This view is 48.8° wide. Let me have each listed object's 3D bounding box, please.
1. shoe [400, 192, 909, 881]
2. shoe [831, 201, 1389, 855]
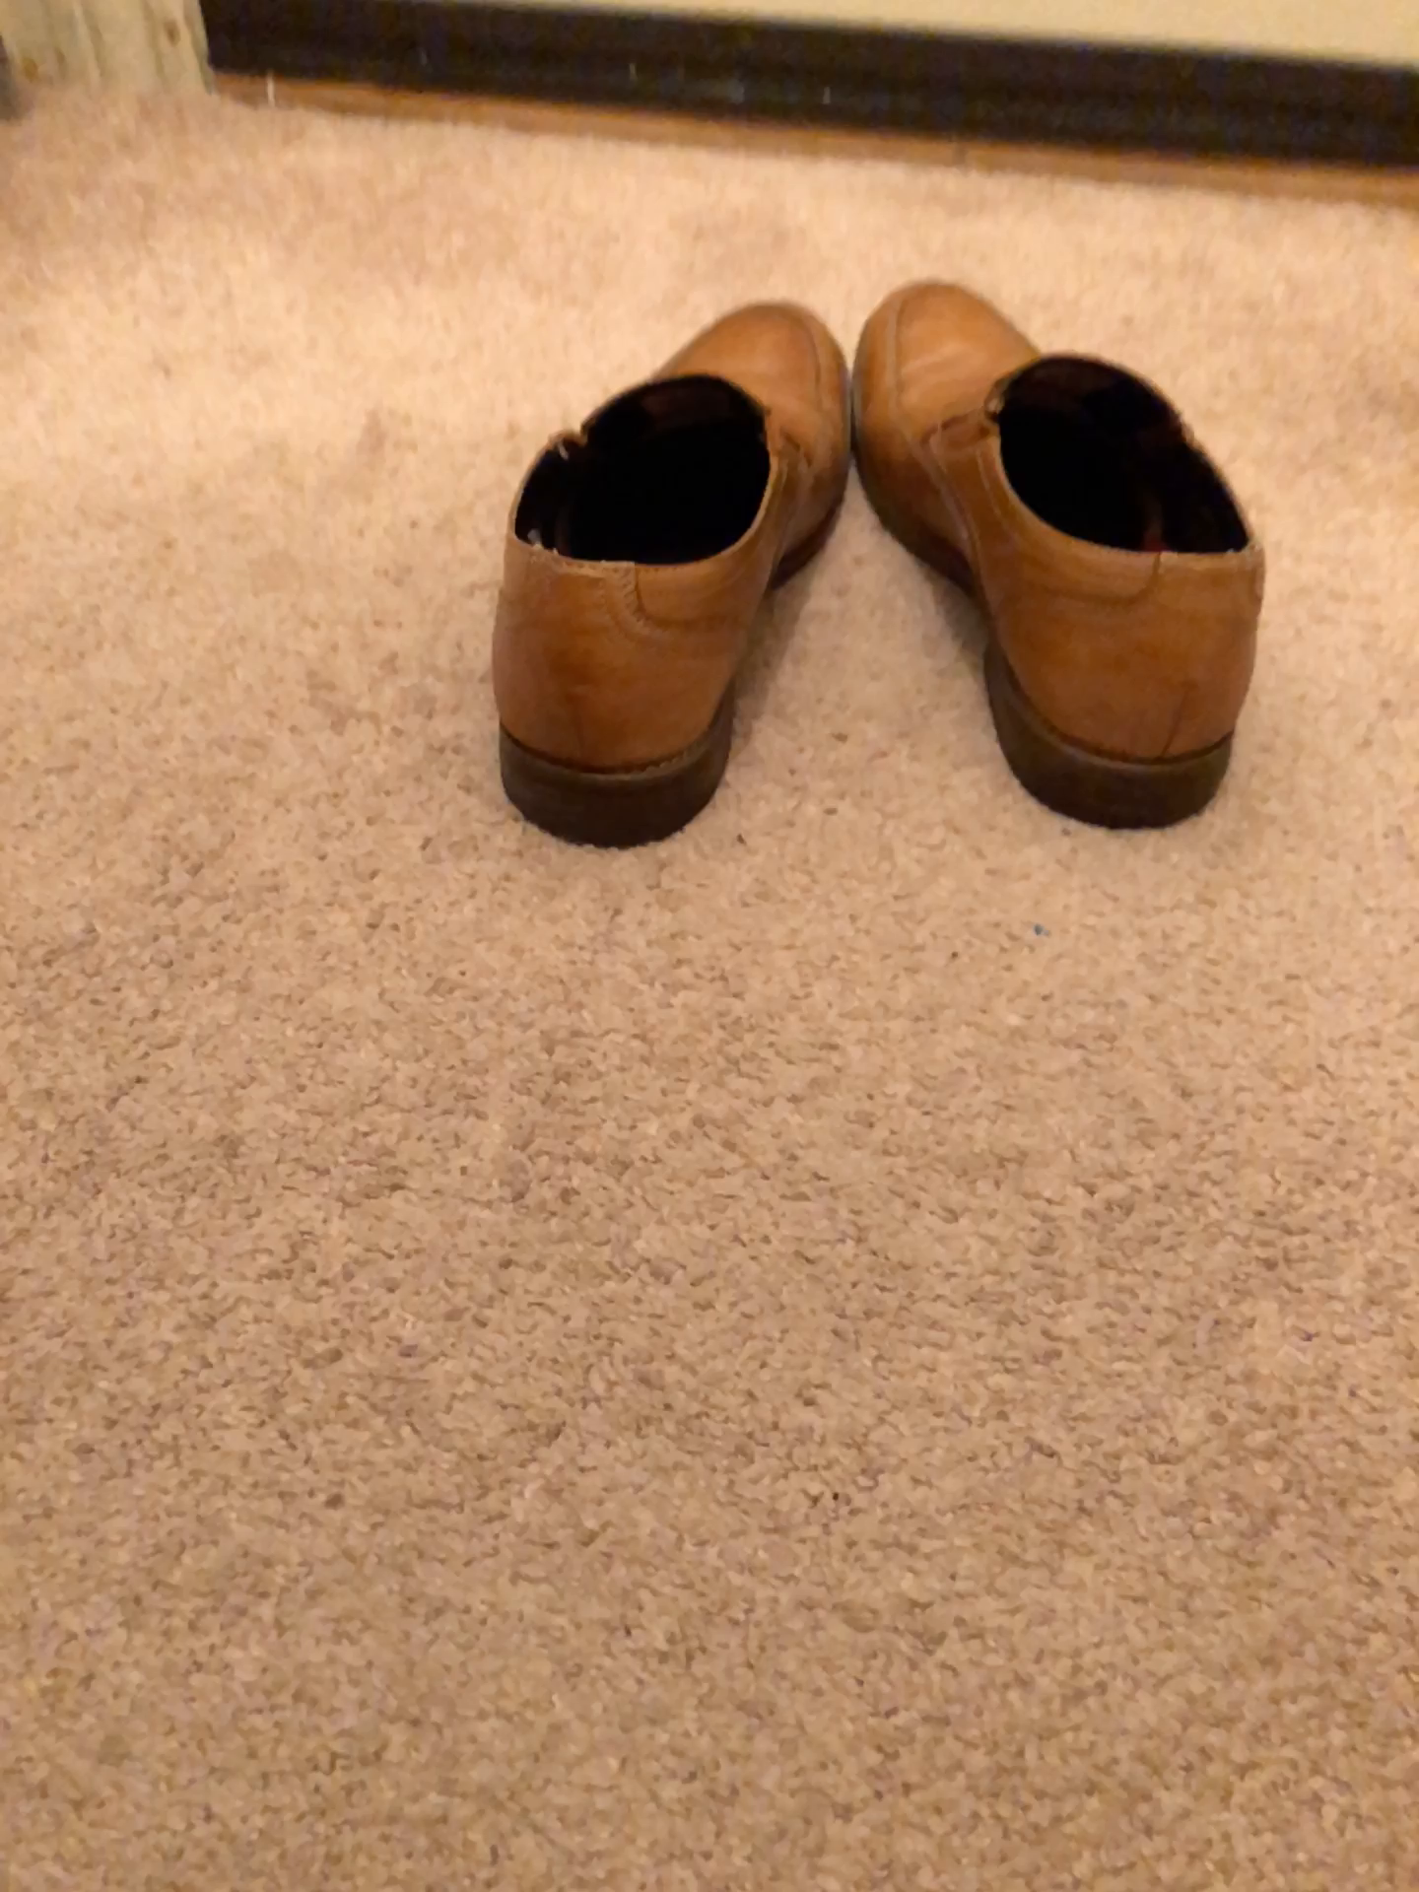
[{"bbox_3d":[-0.003,-0.170,0.576,0.100,0.089,0.322,10,45,9],"label":"shoe"},{"bbox_3d":[0.125,-0.173,0.583,0.107,0.089,0.313,-4,44,-4],"label":"shoe"}]
